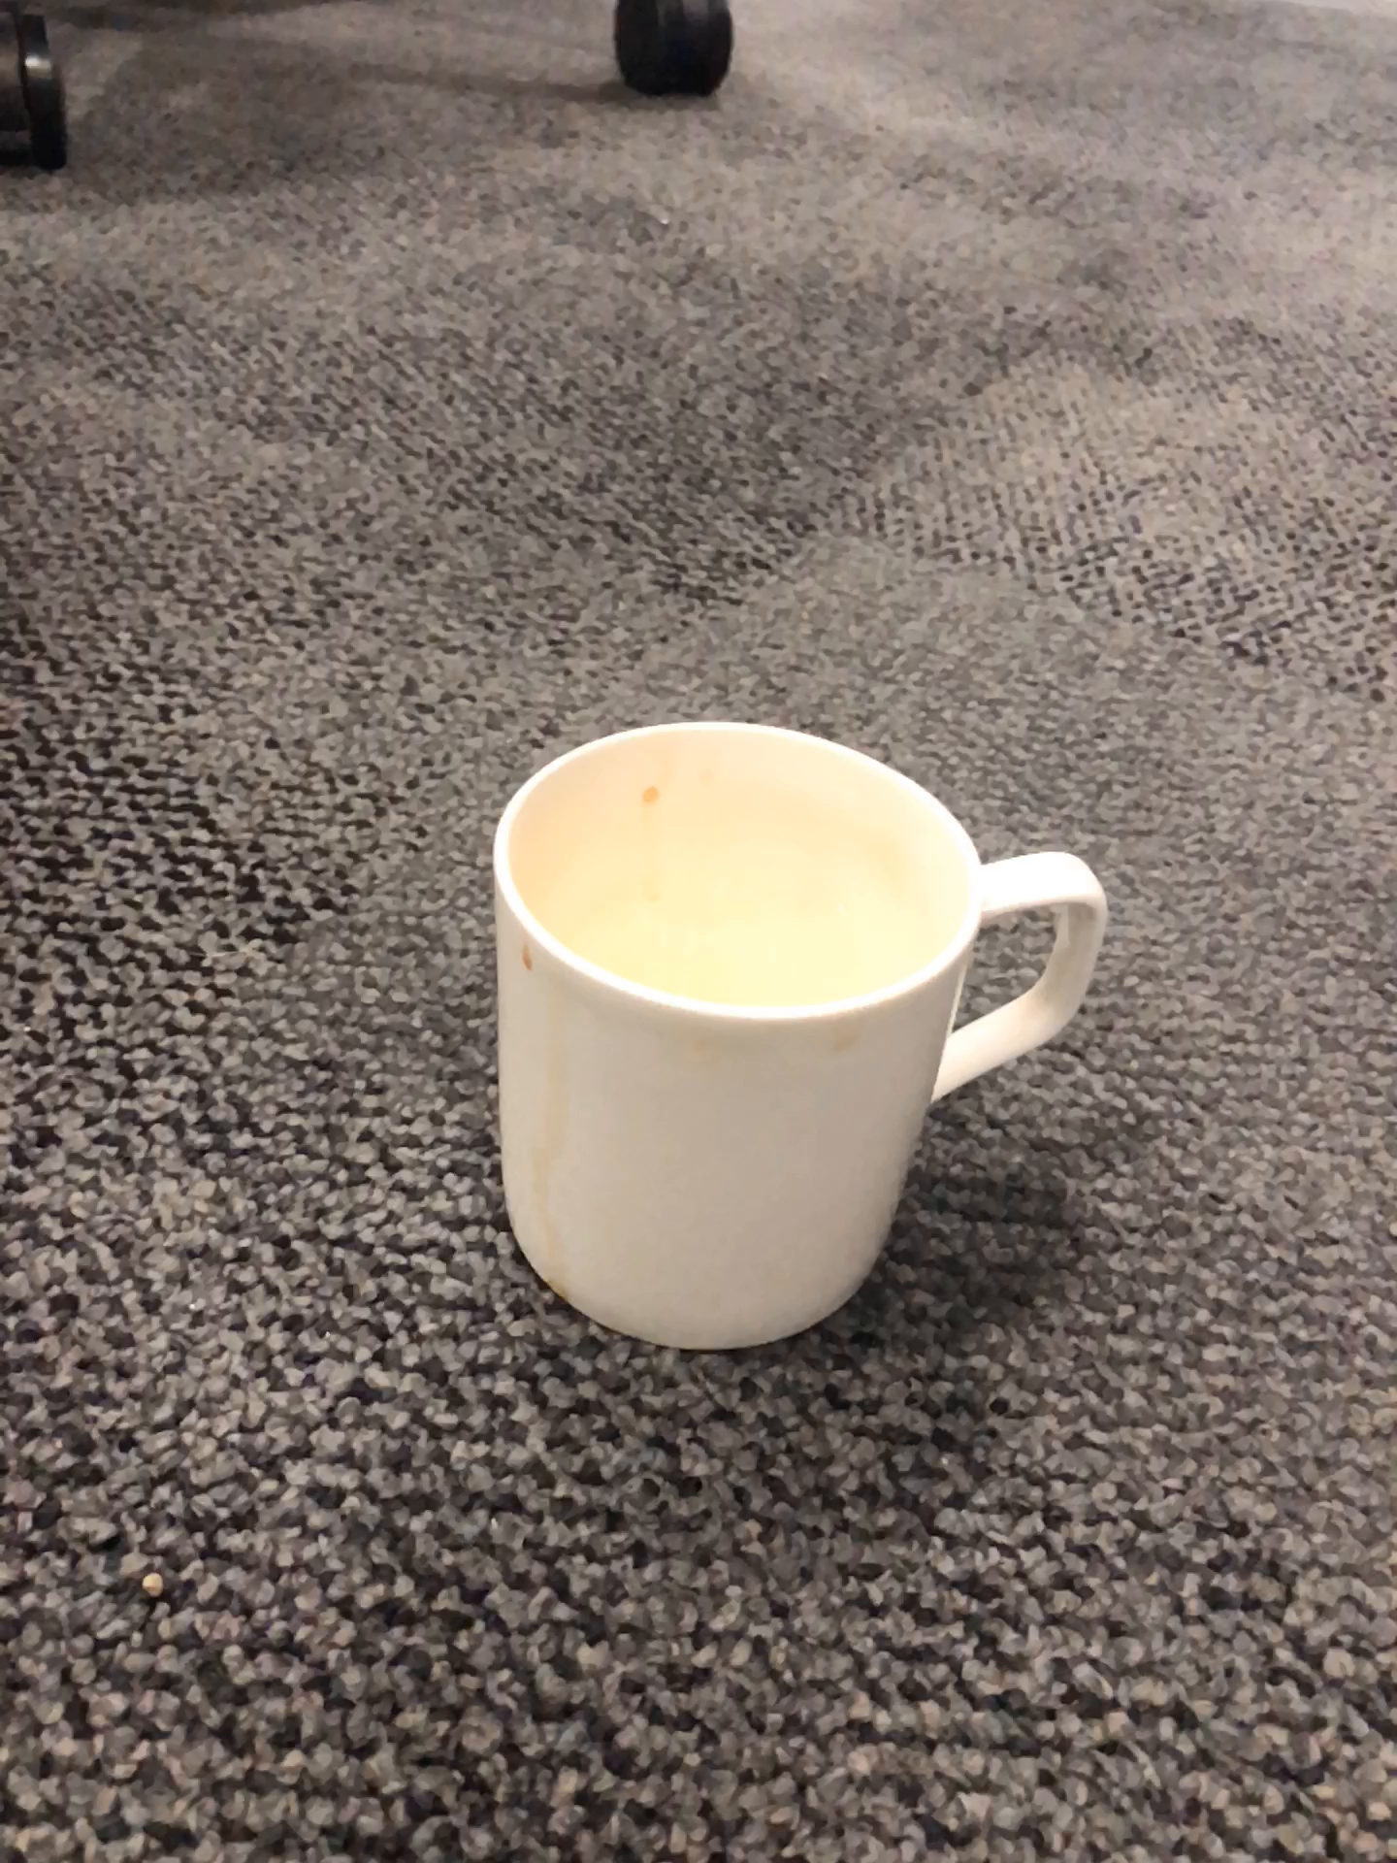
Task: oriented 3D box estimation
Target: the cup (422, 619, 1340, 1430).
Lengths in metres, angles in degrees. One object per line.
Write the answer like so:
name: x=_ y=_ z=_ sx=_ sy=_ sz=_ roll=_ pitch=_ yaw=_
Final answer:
cup: x=0.019 y=0.008 z=0.227 sx=0.100 sy=0.070 sz=0.070 roll=-12 pitch=42 yaw=-21
